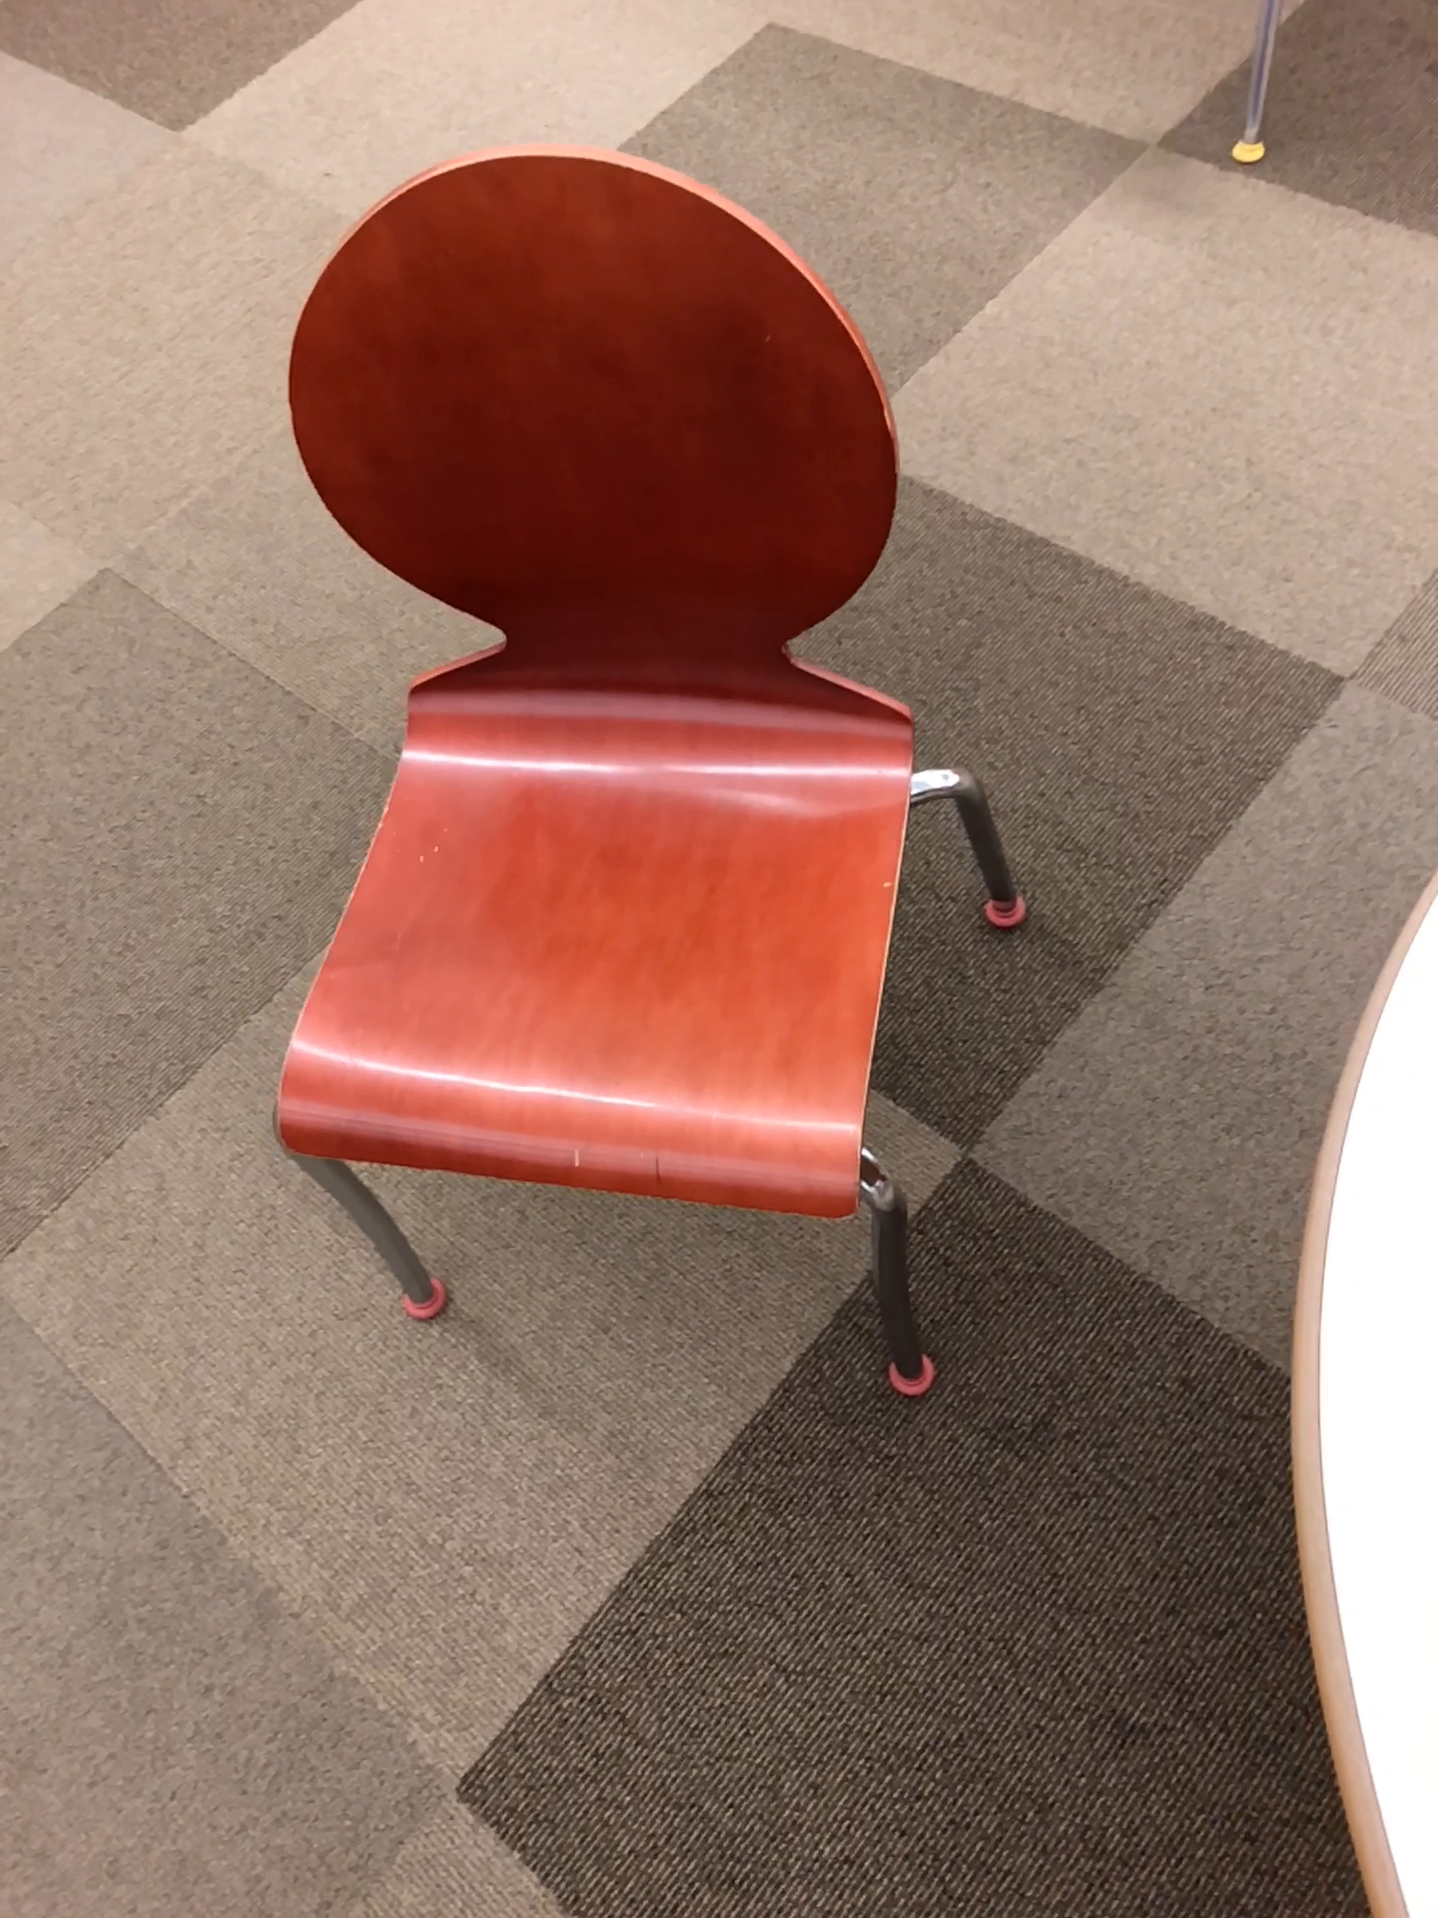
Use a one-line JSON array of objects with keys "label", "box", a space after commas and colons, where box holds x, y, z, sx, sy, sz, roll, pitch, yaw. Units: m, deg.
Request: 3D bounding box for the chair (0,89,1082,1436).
[{"label": "chair", "box": [-0.056, -0.068, 1.032, 0.489, 0.721, 0.488, 6, 60, 13]}]

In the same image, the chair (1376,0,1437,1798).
[{"label": "chair", "box": [0.772, 0.015, 0.824, 0.509, 0.721, 0.508, 27, 66, 23]}]
